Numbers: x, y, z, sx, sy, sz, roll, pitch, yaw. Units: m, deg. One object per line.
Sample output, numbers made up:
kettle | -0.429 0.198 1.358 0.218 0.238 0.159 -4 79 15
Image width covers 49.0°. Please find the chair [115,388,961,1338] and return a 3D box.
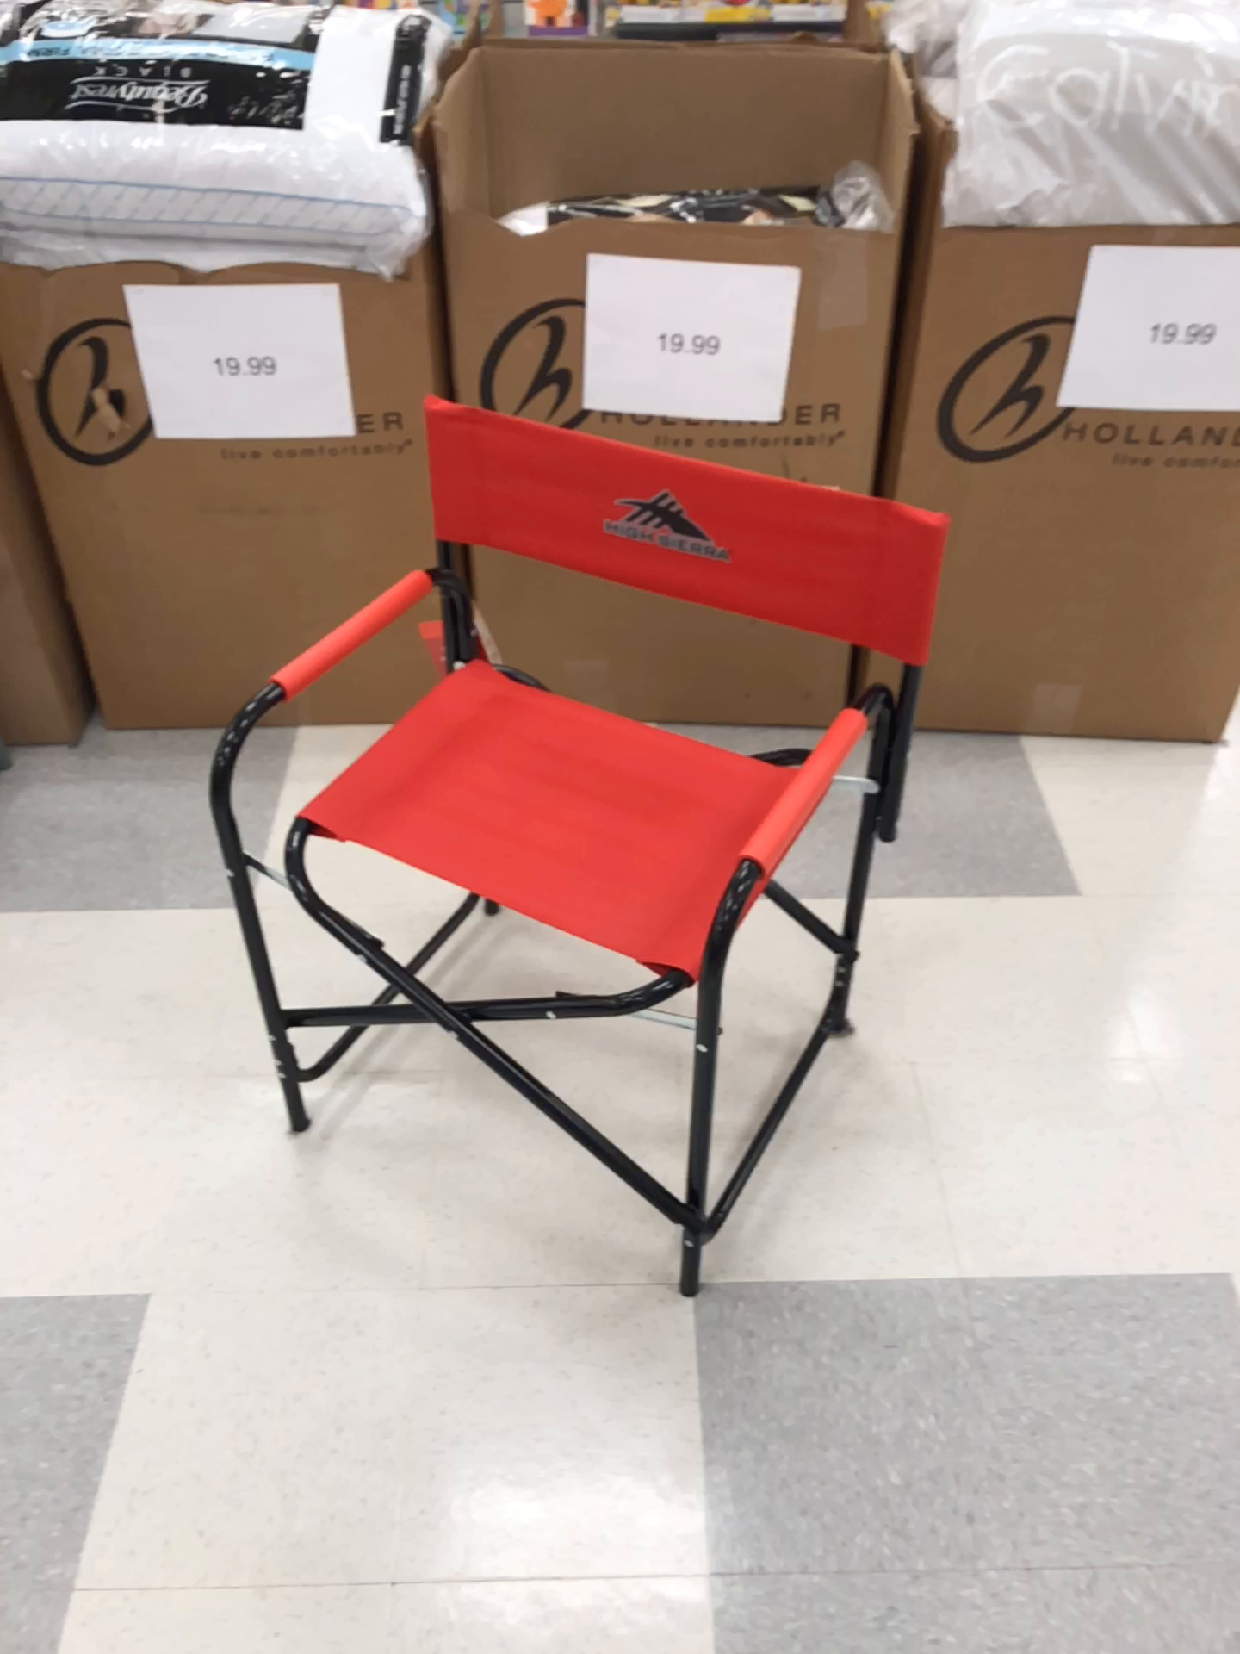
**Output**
chair | -0.052 0.028 1.459 0.593 0.729 0.491 19 45 21
